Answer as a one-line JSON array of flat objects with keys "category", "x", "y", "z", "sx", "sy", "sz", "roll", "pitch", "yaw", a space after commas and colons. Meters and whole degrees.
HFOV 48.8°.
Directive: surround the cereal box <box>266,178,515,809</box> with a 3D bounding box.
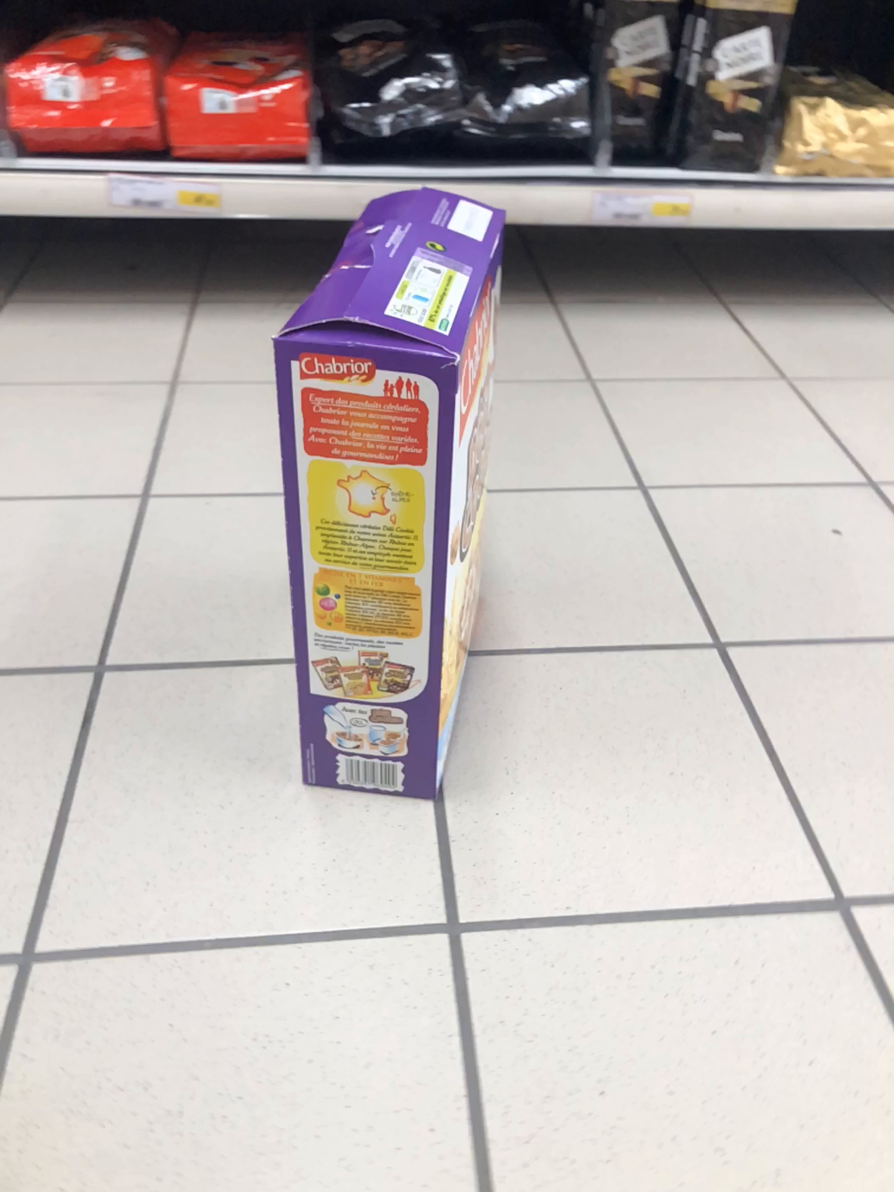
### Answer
[{"category": "cereal box", "x": -0.023, "y": -0.056, "z": 0.536, "sx": 0.080, "sy": 0.268, "sz": 0.201, "roll": 7, "pitch": 37, "yaw": 4}]
